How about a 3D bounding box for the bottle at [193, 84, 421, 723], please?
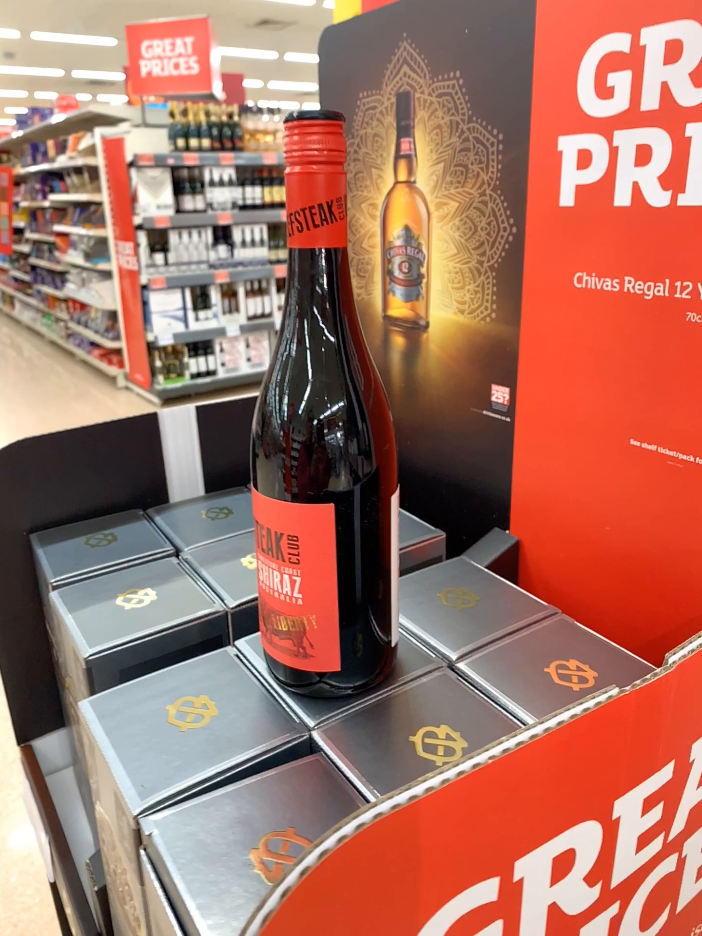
[{"bbox_3d":[-0.019,-0.026,0.362,0.080,0.284,0.083,-1,20,0],"label":"bottle"}]
